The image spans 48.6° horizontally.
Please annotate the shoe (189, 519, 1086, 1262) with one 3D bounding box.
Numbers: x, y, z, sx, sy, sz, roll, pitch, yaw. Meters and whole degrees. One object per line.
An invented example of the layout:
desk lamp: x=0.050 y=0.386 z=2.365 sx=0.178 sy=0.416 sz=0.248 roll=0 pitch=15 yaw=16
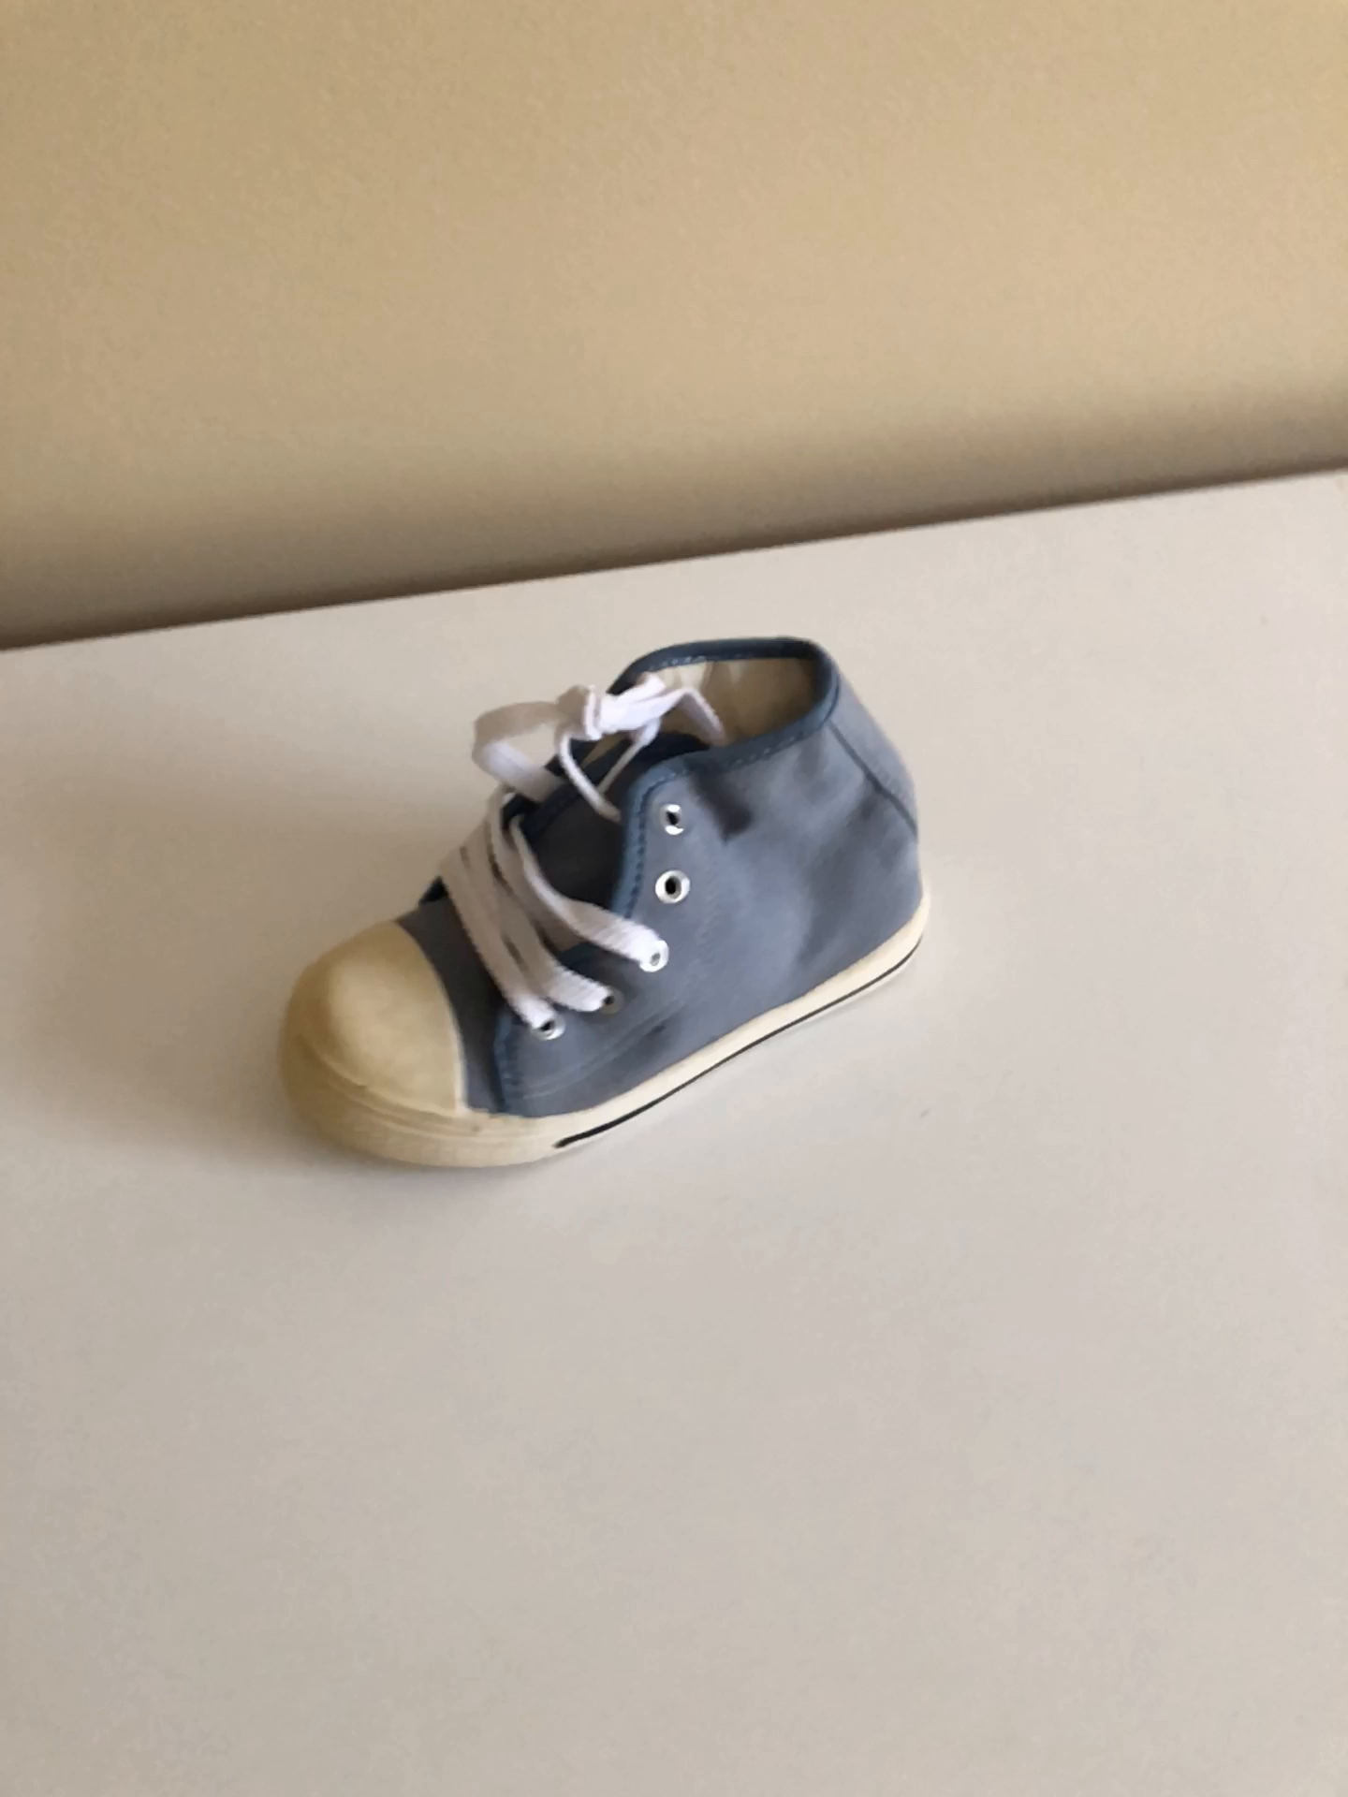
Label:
shoe: x=-0.006 y=-0.006 z=0.379 sx=0.191 sy=0.100 sz=0.080 roll=-24 pitch=55 yaw=-20
